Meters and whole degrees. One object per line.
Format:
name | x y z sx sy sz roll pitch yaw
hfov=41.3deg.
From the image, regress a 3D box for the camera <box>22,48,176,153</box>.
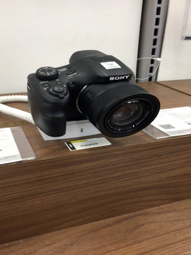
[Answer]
camera | -0.005 -0.041 0.324 0.137 0.088 0.108 -11 40 -21
